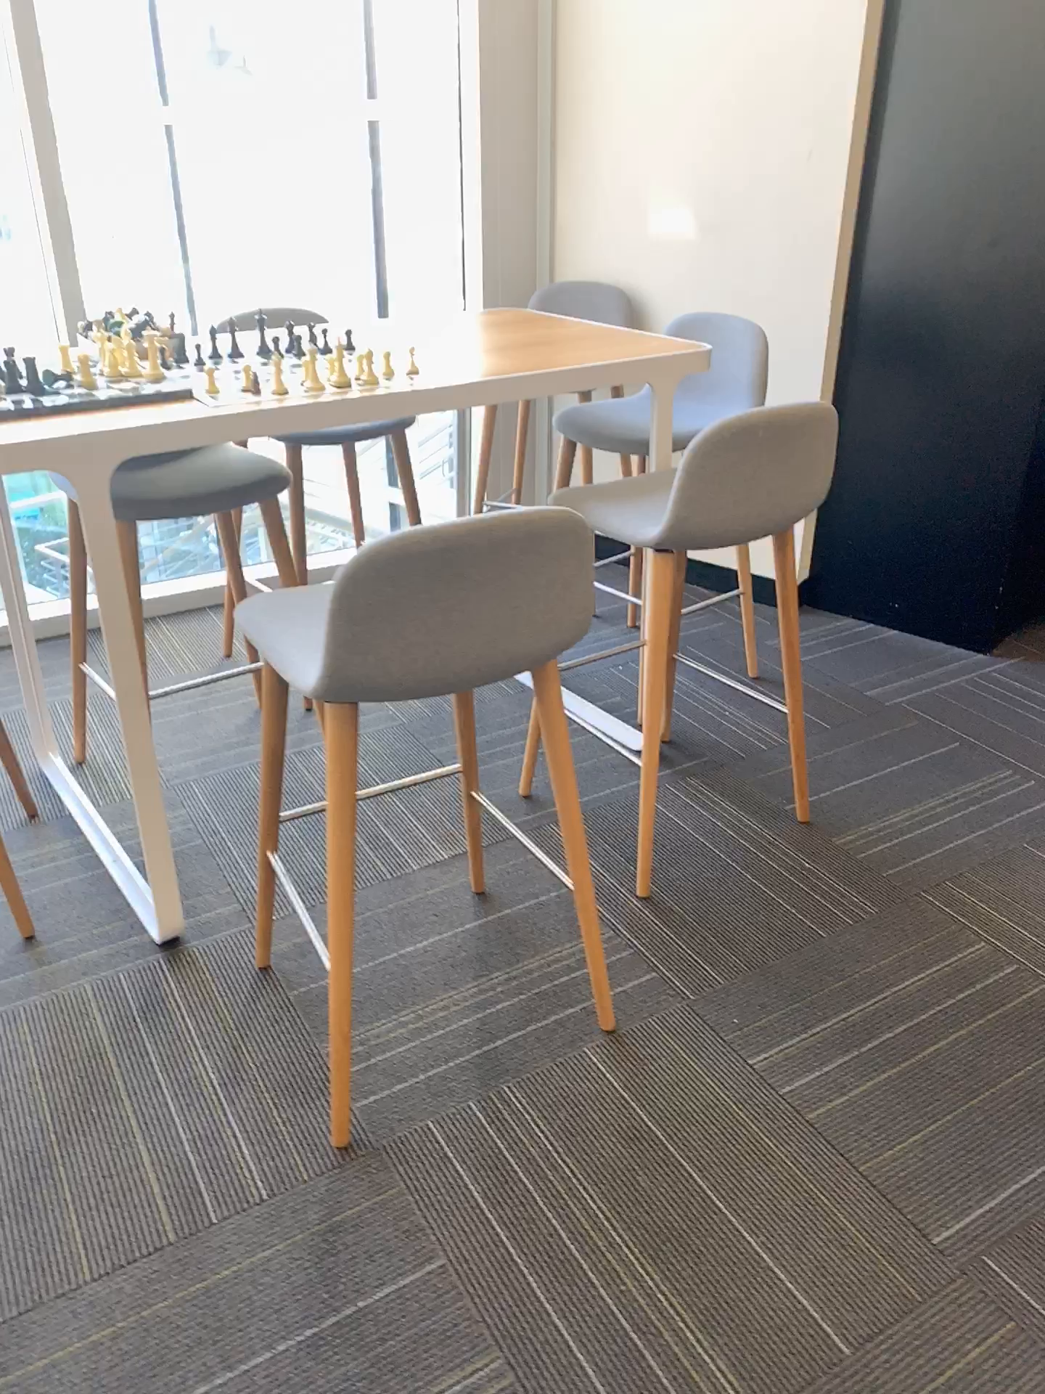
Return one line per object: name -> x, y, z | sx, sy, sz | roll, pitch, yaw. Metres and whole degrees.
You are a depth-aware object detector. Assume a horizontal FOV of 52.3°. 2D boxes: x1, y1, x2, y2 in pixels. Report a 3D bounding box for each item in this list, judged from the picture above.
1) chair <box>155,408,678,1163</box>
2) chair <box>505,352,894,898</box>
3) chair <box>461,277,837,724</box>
chair -> -0.174, 0.095, 1.689 | 0.550, 0.934, 0.553 | -14, 30, -26
chair -> 0.325, -0.185, 2.256 | 0.500, 0.934, 0.553 | -17, 31, -31
chair -> 0.305, -0.601, 3.003 | 0.620, 0.994, 0.784 | -17, 31, -31
